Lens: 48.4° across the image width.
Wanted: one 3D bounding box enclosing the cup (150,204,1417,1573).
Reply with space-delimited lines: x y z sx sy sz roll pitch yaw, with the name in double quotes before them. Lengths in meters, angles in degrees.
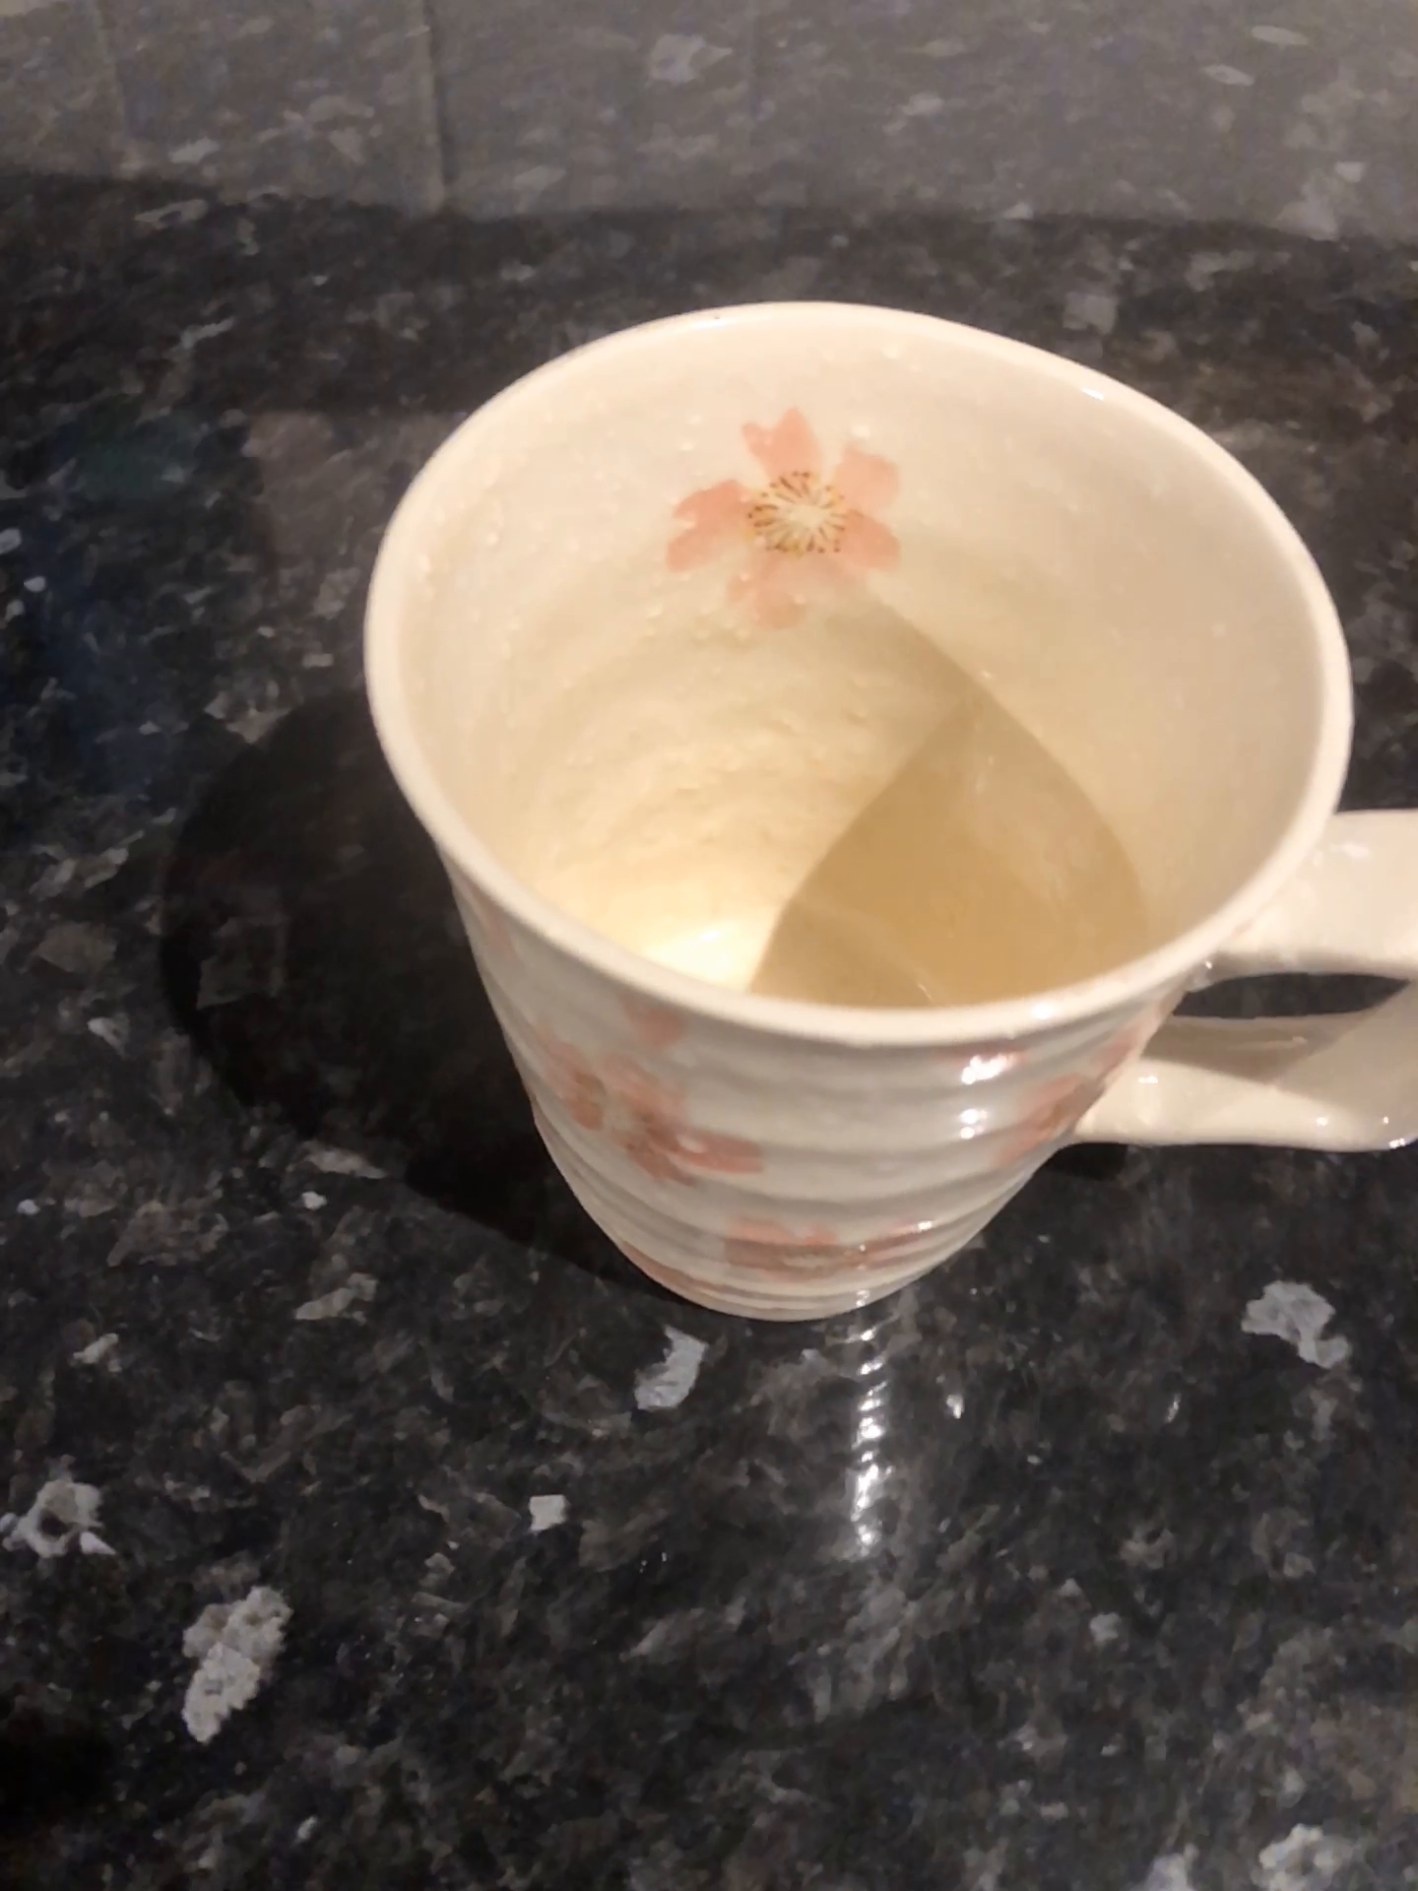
"cup" 0.030 -0.001 0.176 0.130 0.100 0.090 10 57 5
